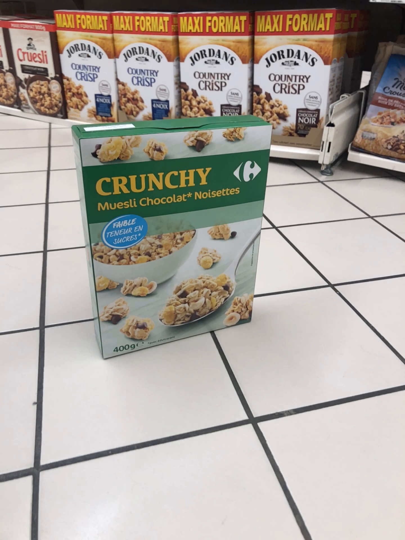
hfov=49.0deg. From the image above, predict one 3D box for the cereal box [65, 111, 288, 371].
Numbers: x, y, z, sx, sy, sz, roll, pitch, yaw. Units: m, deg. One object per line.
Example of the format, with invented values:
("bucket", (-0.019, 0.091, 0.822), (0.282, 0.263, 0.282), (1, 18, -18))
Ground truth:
("cereal box", (-0.025, -0.030, 0.479), (0.201, 0.249, 0.060), (-11, 33, -21))
